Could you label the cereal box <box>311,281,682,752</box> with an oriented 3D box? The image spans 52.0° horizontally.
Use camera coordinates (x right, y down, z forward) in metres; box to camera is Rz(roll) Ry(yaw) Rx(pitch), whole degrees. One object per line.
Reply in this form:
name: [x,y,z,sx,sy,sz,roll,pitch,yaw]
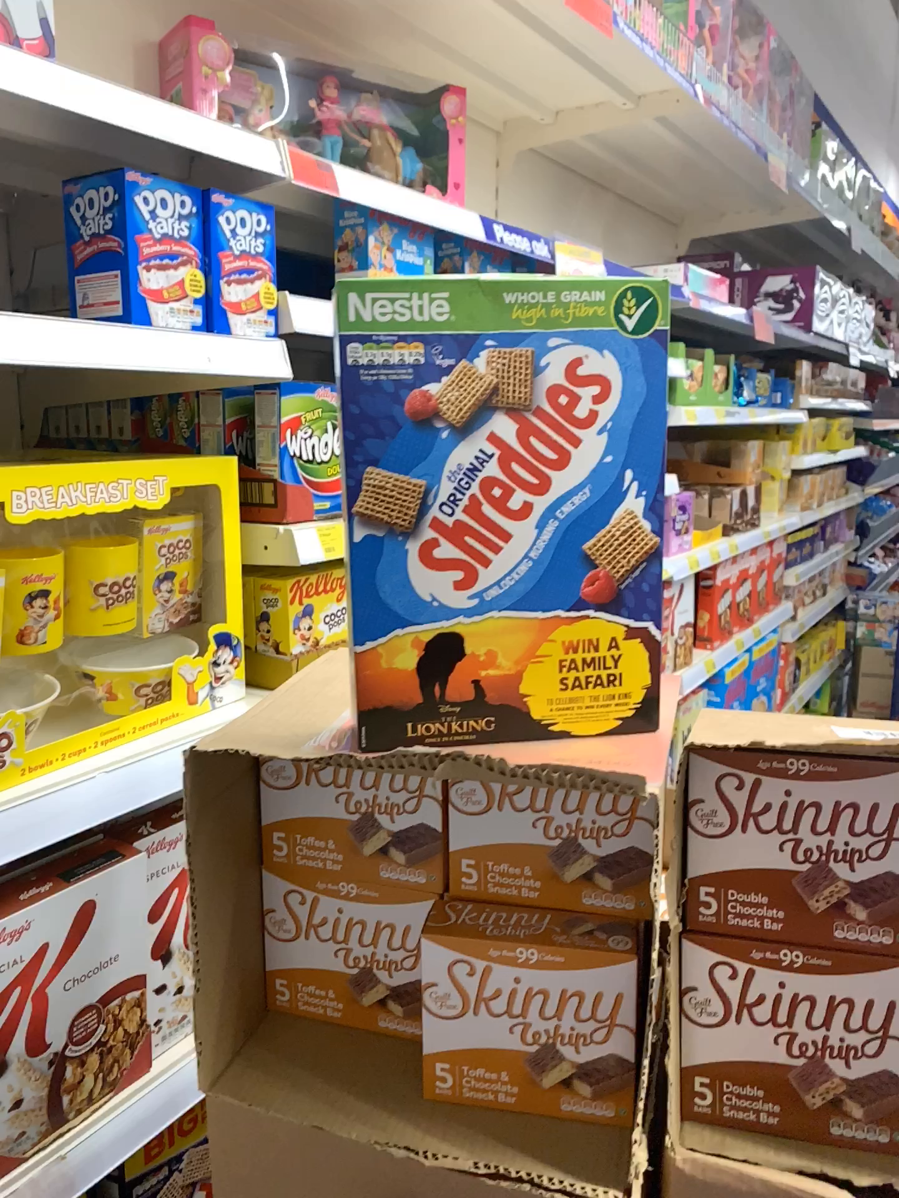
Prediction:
cereal box: [0.027,-0.053,0.574,0.210,0.269,0.070,-3,12,-7]
